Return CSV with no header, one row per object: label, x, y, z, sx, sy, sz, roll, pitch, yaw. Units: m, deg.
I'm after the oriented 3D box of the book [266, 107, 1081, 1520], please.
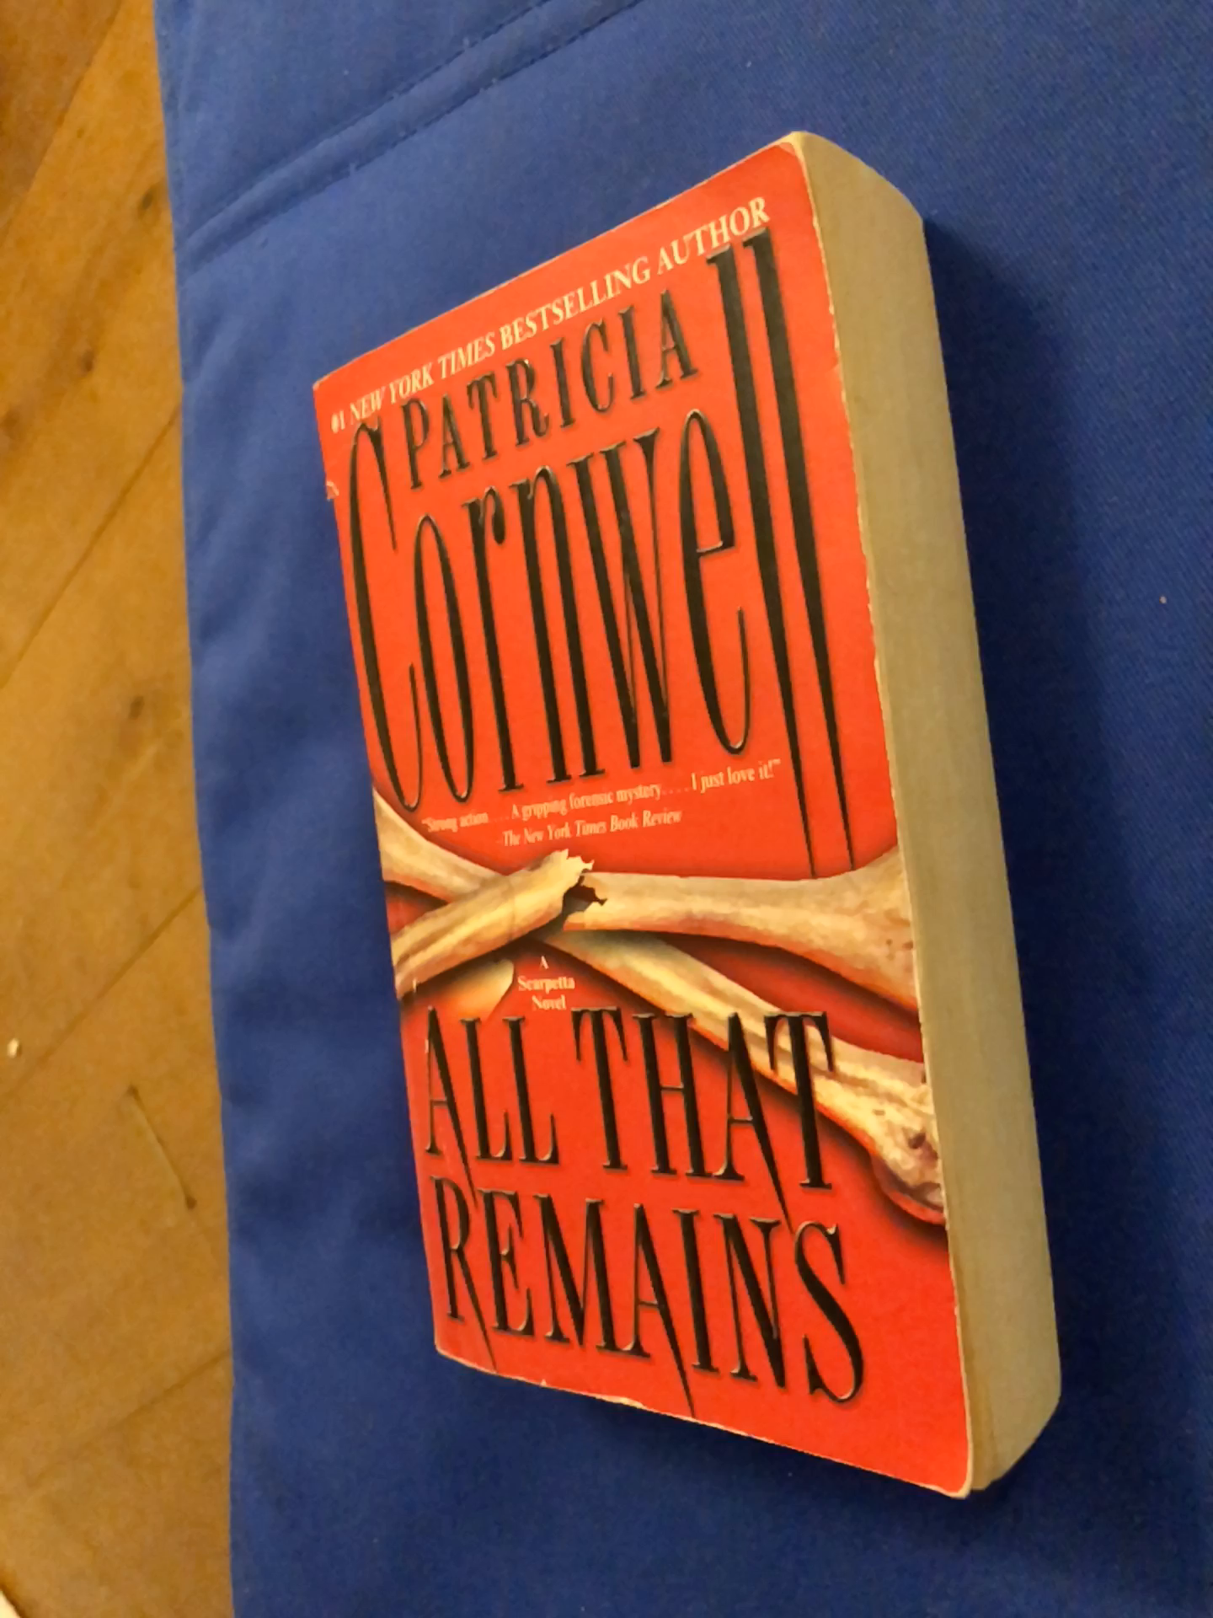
book,0.002,0.004,0.206,0.110,0.030,0.166,-8,88,41
